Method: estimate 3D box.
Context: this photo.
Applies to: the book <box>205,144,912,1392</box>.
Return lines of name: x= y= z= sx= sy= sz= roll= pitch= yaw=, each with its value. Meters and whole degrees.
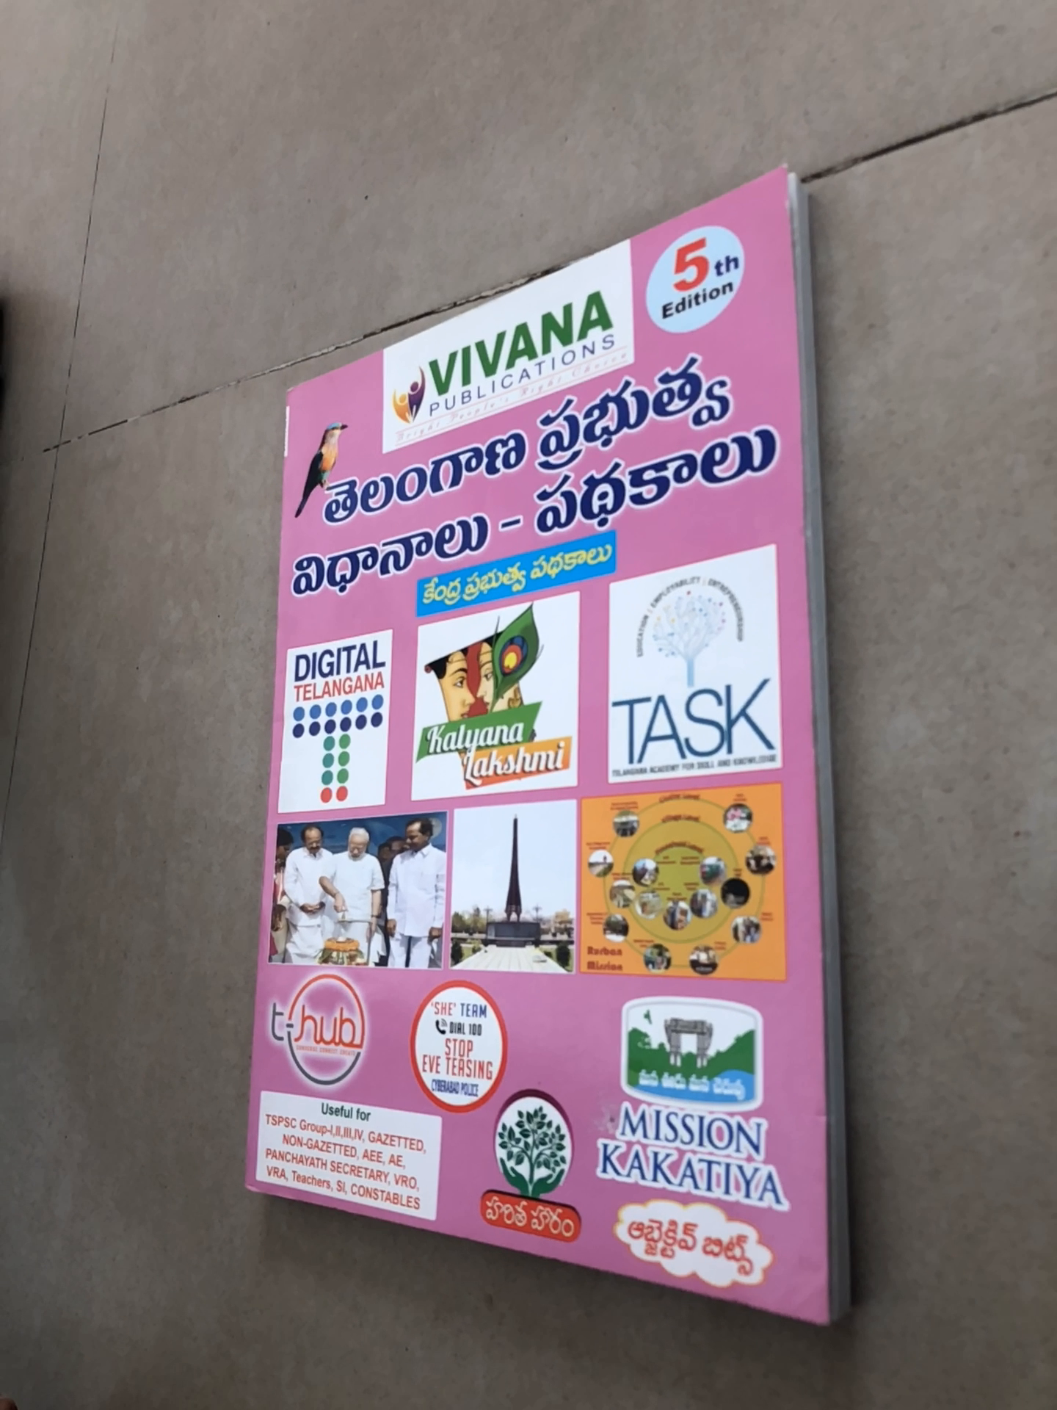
book: x=-0.004 y=0.013 z=0.328 sx=0.201 sy=0.040 sz=0.270 roll=-8 pitch=75 yaw=39
